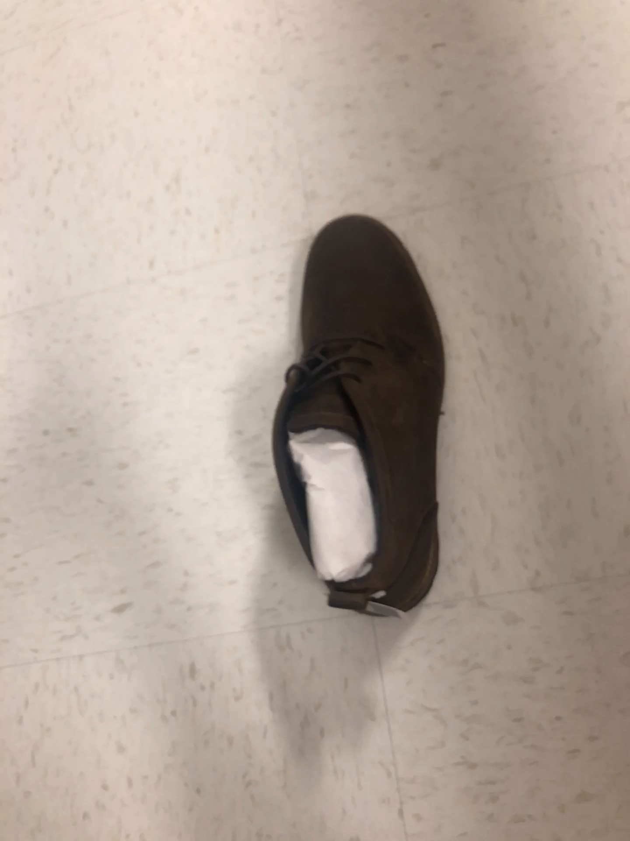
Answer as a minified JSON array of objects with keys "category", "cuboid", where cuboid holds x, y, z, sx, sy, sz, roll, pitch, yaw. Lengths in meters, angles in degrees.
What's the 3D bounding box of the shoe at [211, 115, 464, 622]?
[{"category":"shoe","cuboid":[0.019,-0.017,0.468,0.115,0.168,0.283,-8,73,12]}]
